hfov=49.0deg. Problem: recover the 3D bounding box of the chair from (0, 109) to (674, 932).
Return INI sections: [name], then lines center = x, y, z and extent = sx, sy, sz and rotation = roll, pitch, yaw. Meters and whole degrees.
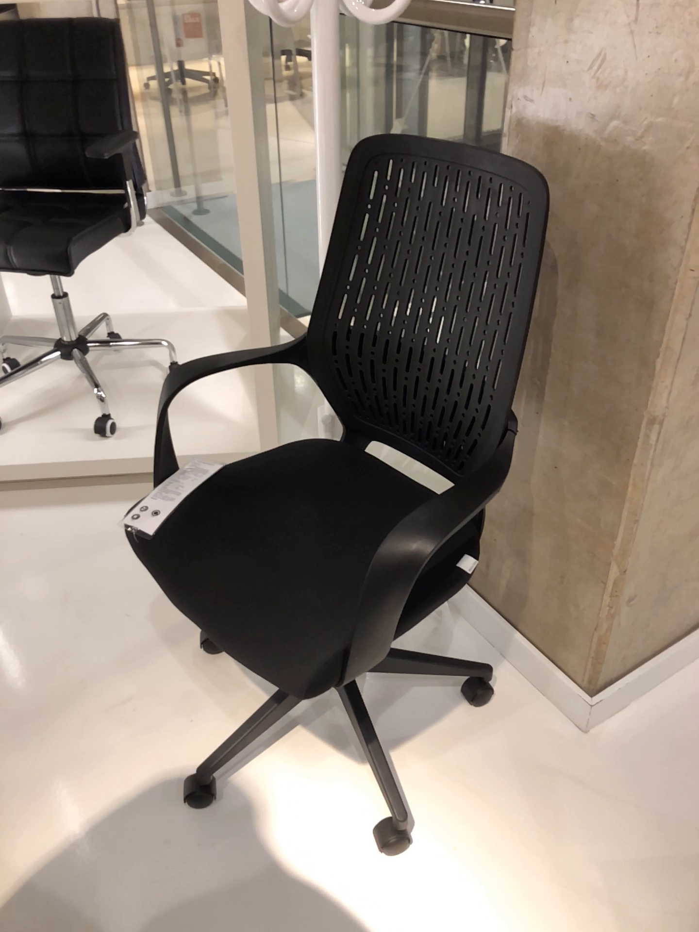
[chair]
center = -0.063, 0.062, 1.265
extent = 0.702, 1.022, 0.643
rotation = -27, 42, -31
